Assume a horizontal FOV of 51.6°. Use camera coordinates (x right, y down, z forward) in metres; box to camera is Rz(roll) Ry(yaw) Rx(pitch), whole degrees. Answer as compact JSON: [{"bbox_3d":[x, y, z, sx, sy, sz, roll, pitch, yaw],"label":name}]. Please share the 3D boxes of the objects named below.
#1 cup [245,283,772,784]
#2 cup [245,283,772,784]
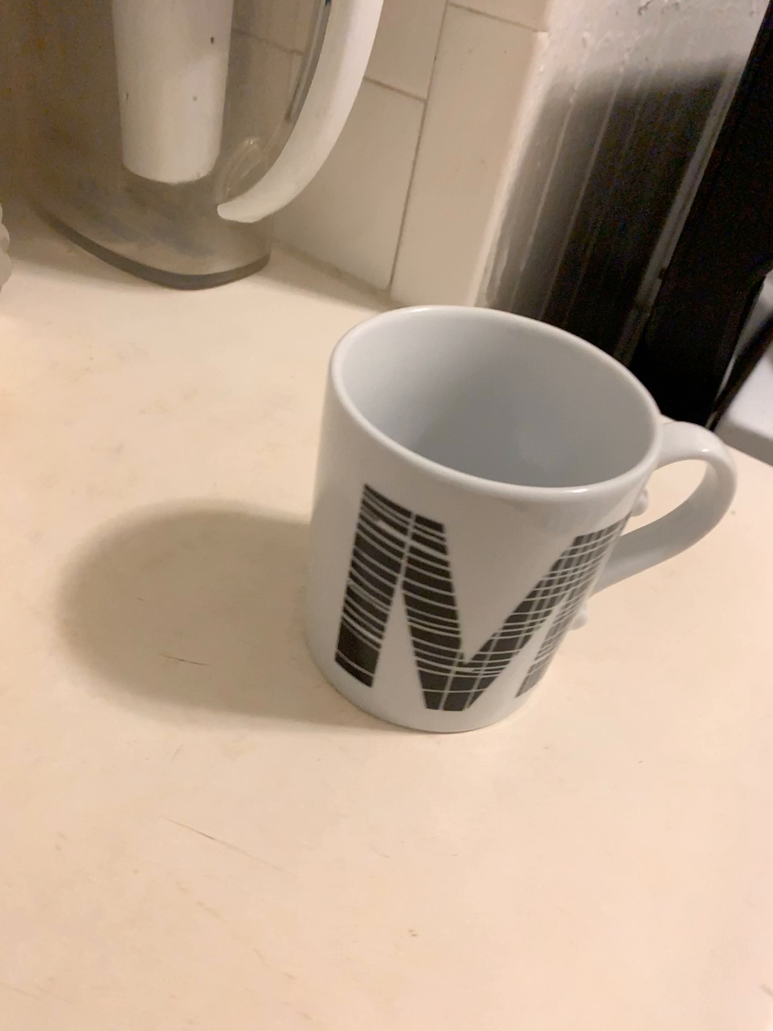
[{"bbox_3d":[0.026,0.007,0.253,0.130,0.109,0.101,2,41,-14],"label":"cup"},{"bbox_3d":[0.026,0.007,0.253,0.130,0.109,0.101,2,41,-14],"label":"cup"}]
